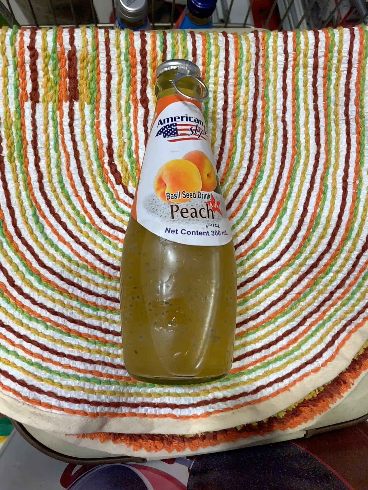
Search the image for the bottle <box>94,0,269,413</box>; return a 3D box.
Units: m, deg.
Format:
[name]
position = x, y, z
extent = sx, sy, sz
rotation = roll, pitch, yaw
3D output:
[bottle]
position = -0.005, -0.021, 0.216
extent = 0.070, 0.060, 0.200
rotation = 6, 76, -26
